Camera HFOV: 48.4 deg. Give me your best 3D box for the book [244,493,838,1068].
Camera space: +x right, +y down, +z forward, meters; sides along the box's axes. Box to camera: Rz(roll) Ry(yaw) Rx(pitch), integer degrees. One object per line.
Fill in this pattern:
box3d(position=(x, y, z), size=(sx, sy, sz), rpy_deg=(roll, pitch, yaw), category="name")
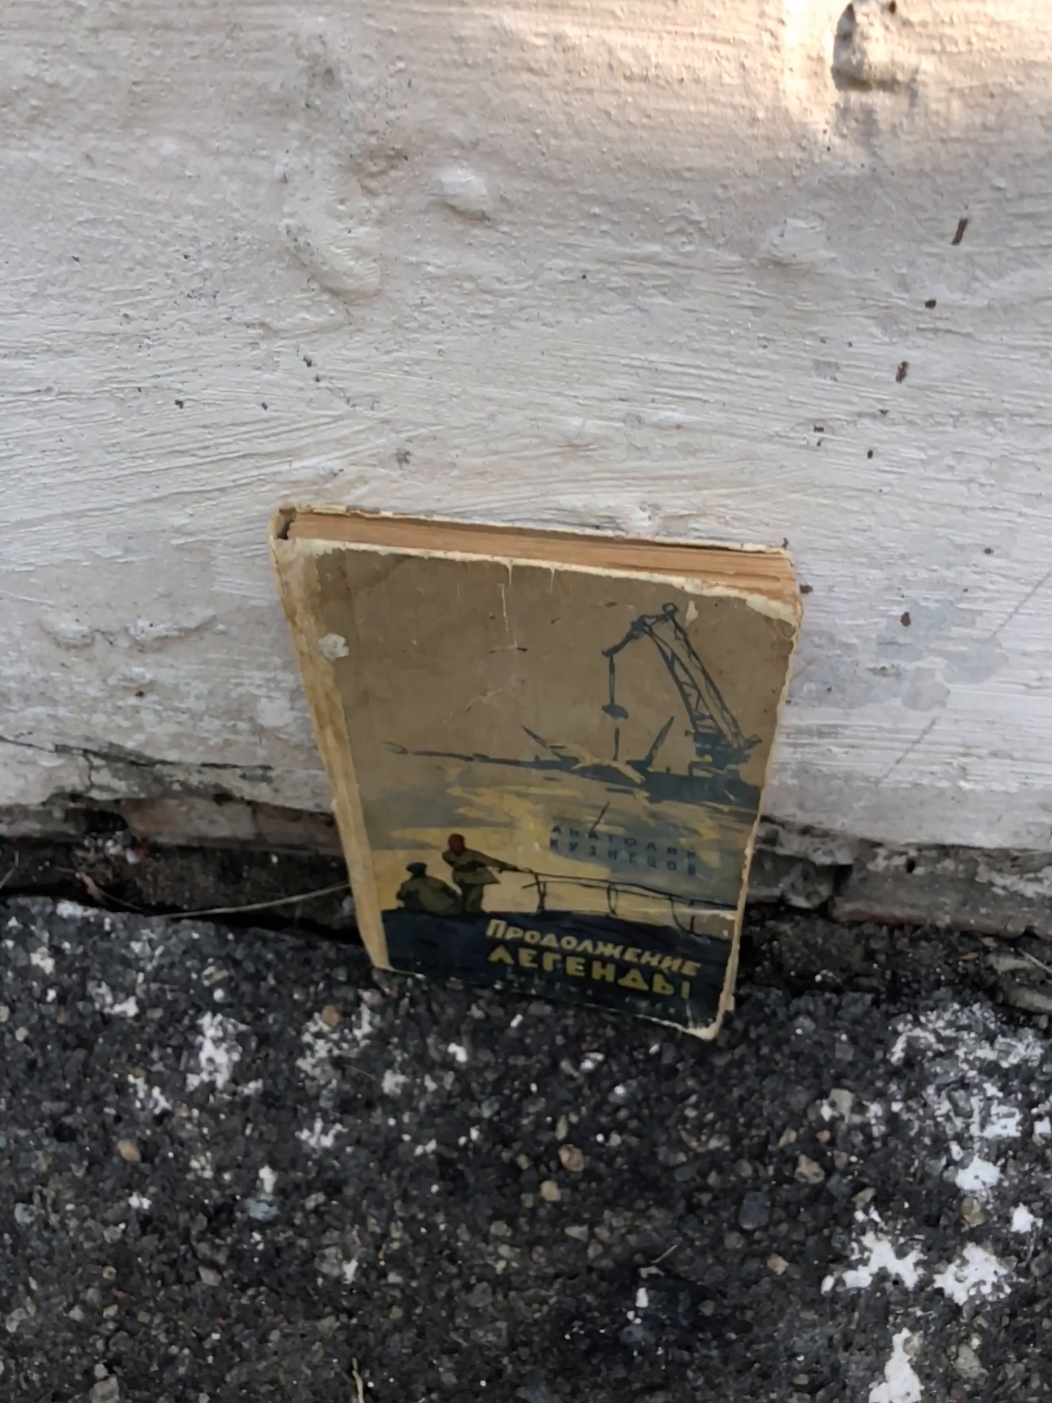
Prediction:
box3d(position=(0.002, 0.033, 0.337), size=(0.136, 0.181, 0.030), rpy_deg=(8, 43, 7), category="book")
